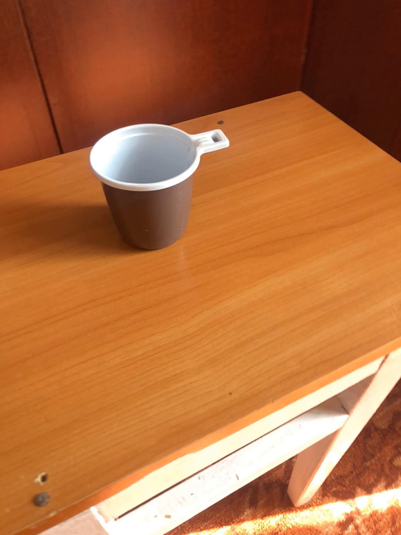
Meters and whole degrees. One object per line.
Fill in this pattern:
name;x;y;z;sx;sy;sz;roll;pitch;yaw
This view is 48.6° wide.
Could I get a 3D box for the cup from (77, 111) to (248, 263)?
cup;-0.028;-0.061;0.323;0.100;0.060;0.070;-16;49;-13
